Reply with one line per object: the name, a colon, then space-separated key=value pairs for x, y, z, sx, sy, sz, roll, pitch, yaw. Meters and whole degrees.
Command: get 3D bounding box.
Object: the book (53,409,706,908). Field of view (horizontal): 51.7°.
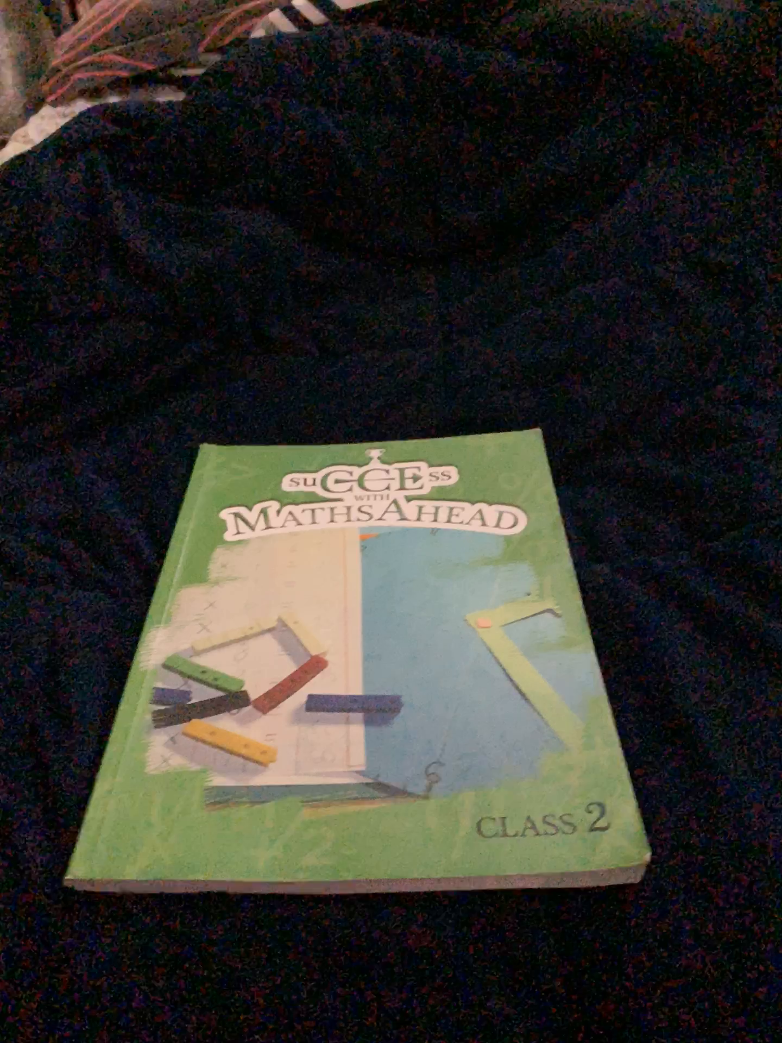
book: x=-0.005 y=0.038 z=0.394 sx=0.230 sy=0.020 sz=0.281 roll=-1 pitch=43 yaw=1
